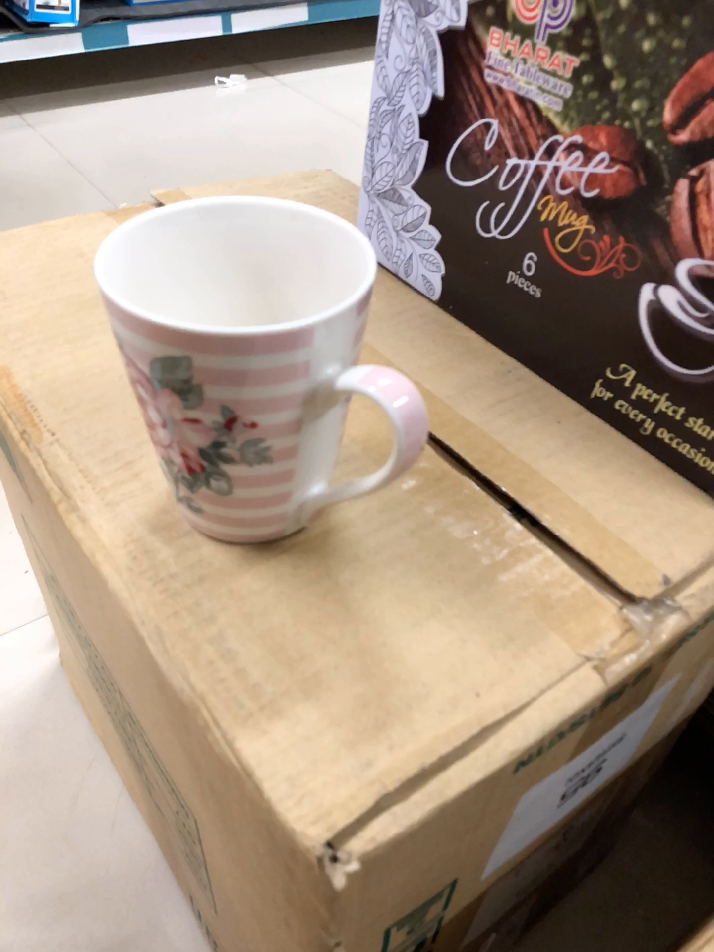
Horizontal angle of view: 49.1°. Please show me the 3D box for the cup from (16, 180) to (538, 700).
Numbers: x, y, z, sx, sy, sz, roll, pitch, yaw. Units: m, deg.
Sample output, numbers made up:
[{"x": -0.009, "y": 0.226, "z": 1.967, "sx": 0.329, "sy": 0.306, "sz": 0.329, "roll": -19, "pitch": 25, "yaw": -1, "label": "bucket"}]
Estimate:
[{"x": -0.029, "y": -0.021, "z": 0.257, "sx": 0.090, "sy": 0.089, "sz": 0.130, "roll": -30, "pitch": 52, "yaw": -31, "label": "cup"}]
